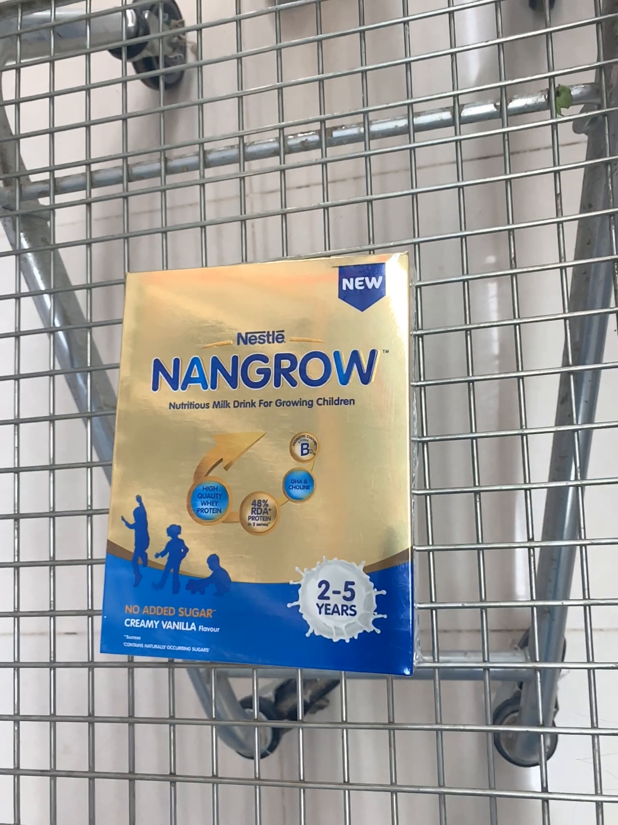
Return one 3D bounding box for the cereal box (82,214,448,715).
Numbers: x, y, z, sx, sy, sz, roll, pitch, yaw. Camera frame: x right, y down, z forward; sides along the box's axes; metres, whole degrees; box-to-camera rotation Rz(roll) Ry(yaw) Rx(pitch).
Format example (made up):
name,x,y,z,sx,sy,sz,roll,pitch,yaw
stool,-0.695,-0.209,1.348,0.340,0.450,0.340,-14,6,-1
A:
name,x,y,z,sx,sy,sz,roll,pitch,yaw
cereal box,-0.016,0.021,0.290,0.150,0.060,0.190,-1,85,14
